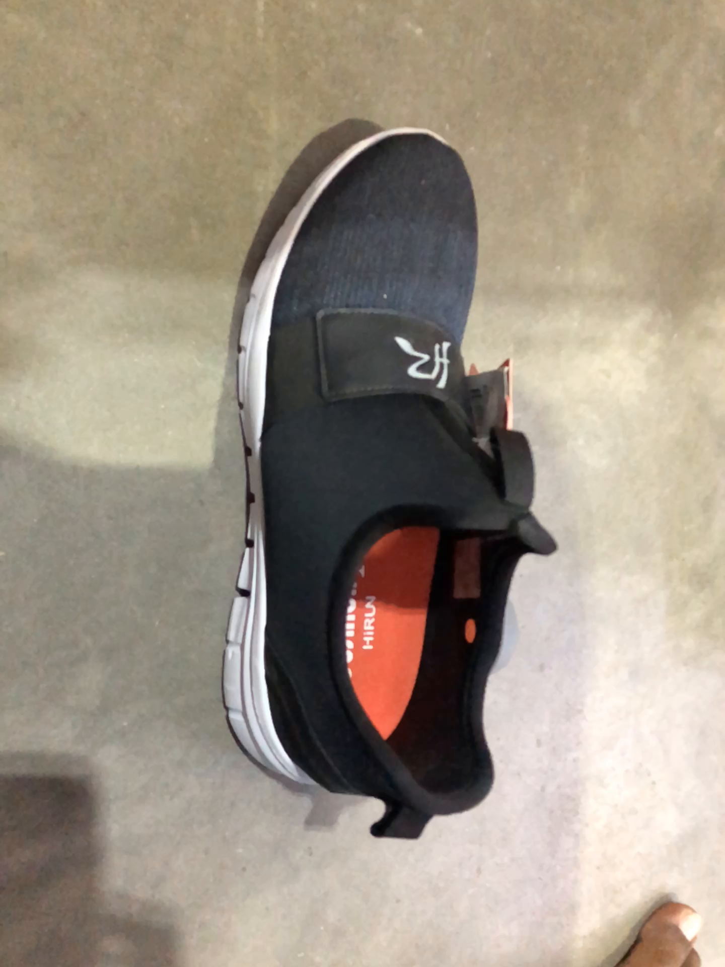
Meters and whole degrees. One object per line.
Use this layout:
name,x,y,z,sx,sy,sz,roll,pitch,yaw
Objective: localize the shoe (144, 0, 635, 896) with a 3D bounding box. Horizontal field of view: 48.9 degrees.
shoe,0.003,-0.015,0.307,0.100,0.130,0.270,9,87,-30
